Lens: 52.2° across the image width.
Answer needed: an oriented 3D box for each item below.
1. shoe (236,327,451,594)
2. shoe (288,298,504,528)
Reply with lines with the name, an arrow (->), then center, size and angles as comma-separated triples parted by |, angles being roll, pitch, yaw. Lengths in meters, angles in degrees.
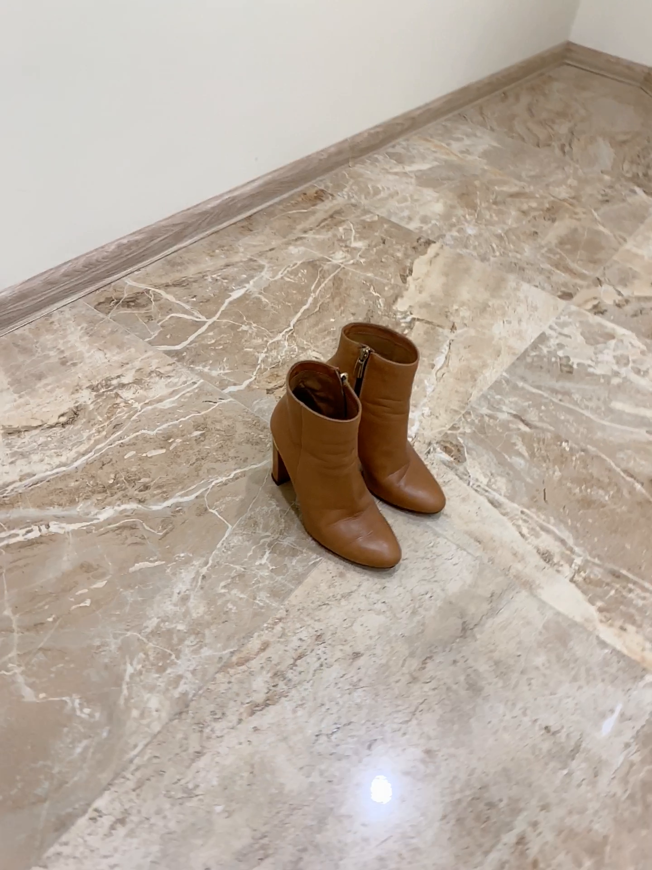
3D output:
shoe -> 0.004, 0.026, 0.739 | 0.090, 0.185, 0.221 | -29, 57, -32
shoe -> 0.071, -0.027, 0.790 | 0.210, 0.175, 0.090 | 32, 49, 21
